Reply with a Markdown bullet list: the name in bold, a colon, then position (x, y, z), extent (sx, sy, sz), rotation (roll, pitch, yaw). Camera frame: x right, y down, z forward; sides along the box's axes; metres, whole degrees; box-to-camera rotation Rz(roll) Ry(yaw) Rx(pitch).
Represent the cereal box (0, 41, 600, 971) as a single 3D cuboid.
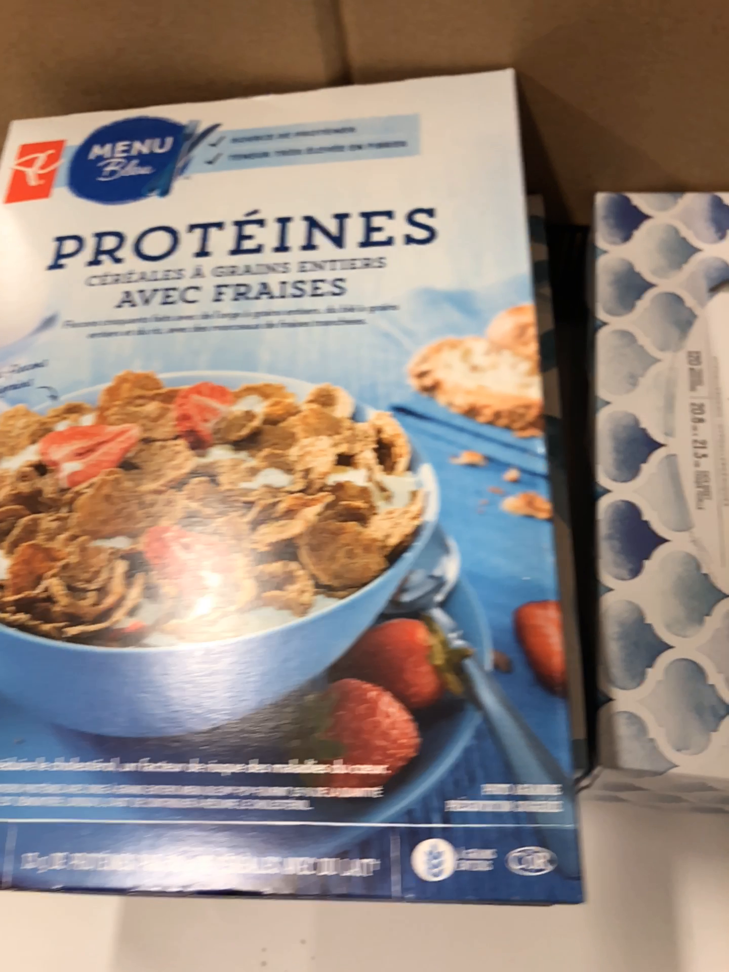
- **cereal box**: position (-0.047, -0.010, 0.236), extent (0.190, 0.050, 0.250), rotation (-3, 64, 8)
